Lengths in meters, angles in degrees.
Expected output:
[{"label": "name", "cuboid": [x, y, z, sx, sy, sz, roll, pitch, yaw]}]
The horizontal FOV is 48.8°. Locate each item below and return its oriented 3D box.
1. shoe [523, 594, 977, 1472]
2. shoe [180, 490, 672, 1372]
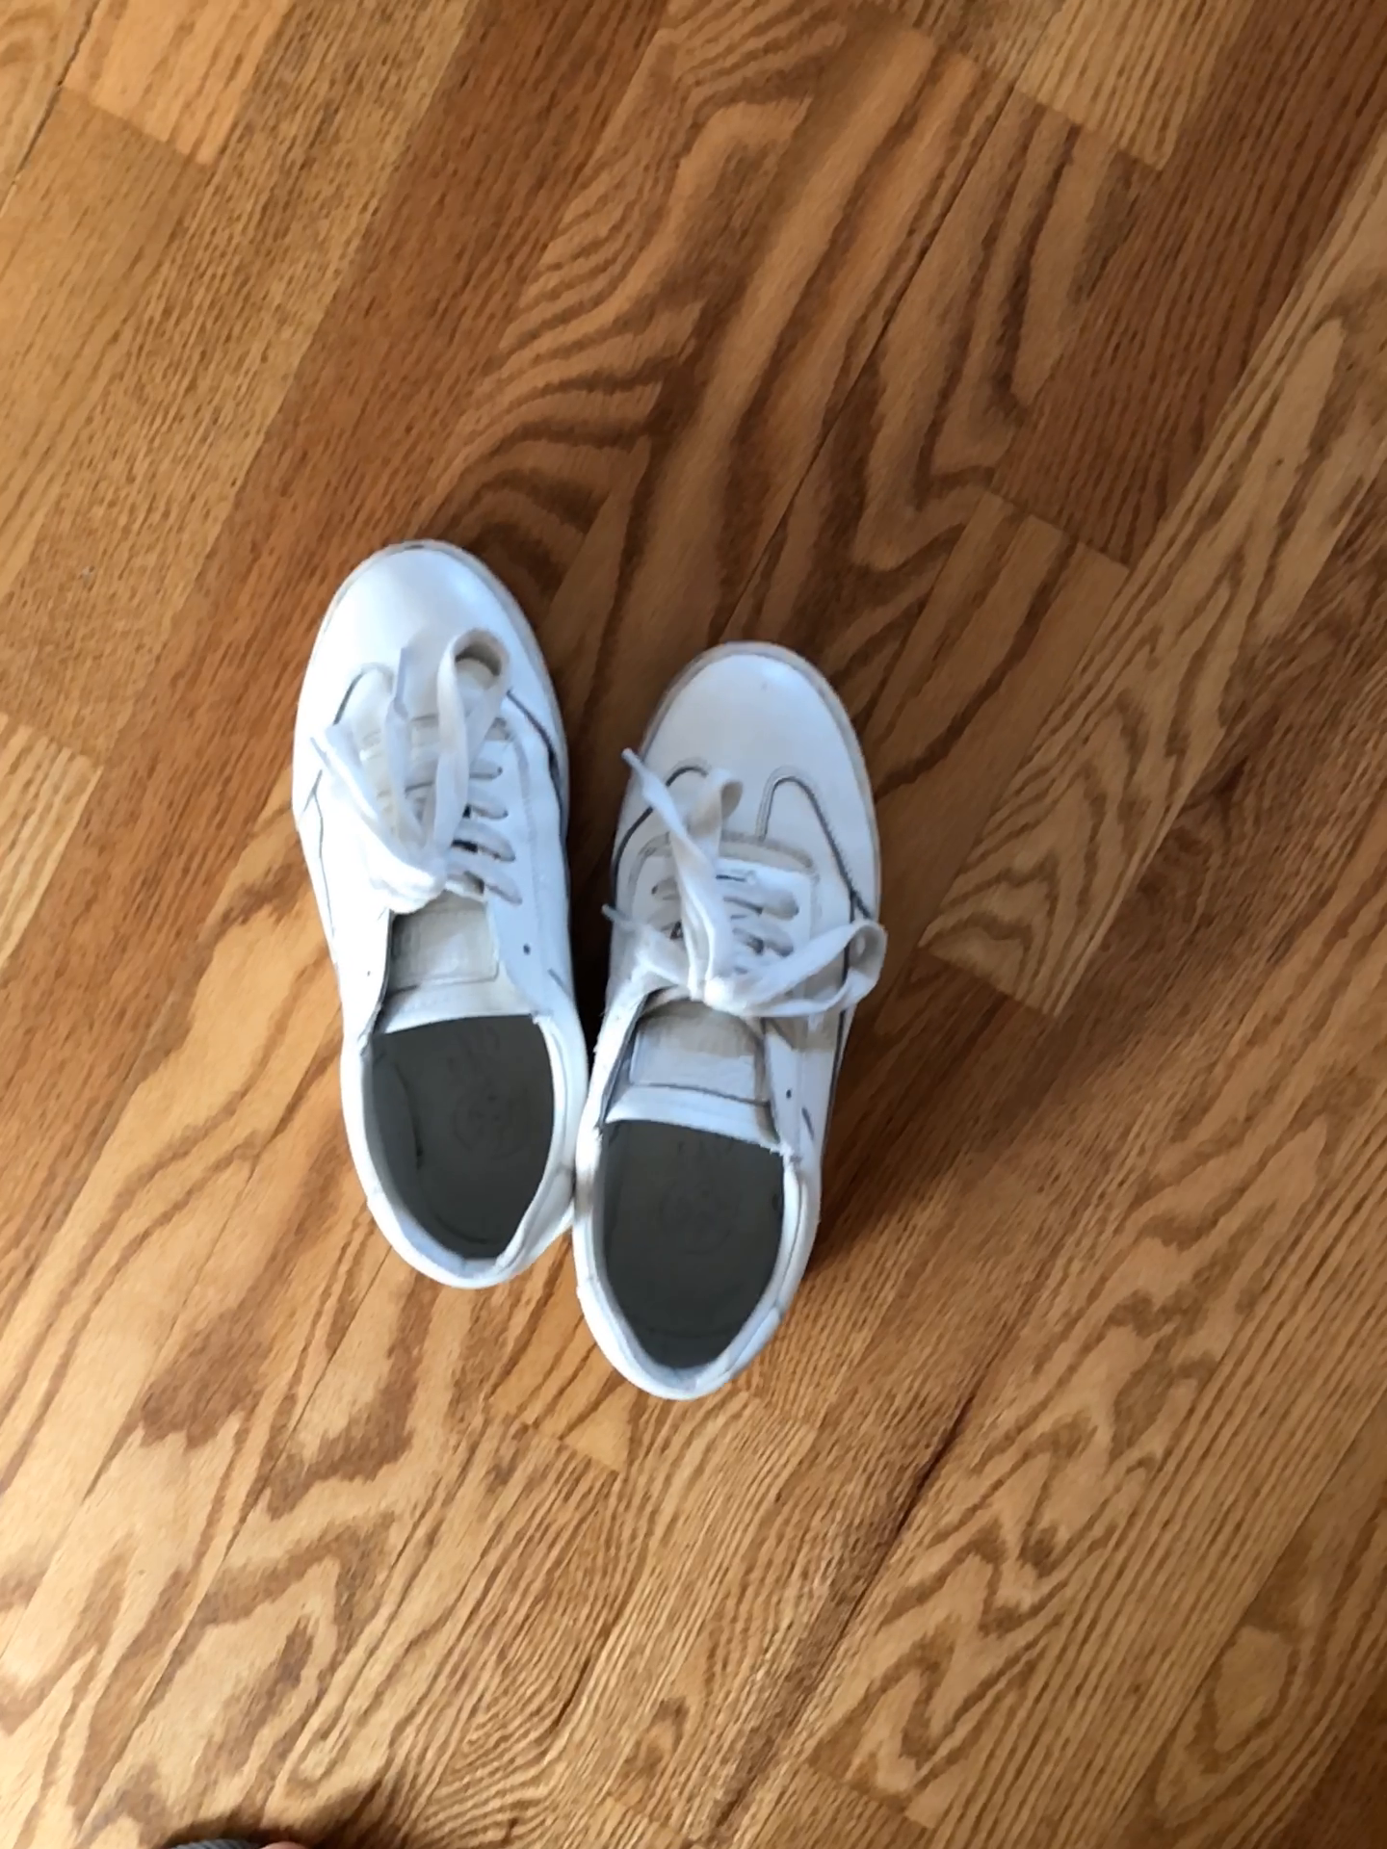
[{"label": "shoe", "cuboid": [0.016, 0.031, 0.520, 0.102, 0.107, 0.260, 8, 96, 1]}, {"label": "shoe", "cuboid": [-0.081, 0.001, 0.522, 0.102, 0.104, 0.260, -9, 96, 3]}]
